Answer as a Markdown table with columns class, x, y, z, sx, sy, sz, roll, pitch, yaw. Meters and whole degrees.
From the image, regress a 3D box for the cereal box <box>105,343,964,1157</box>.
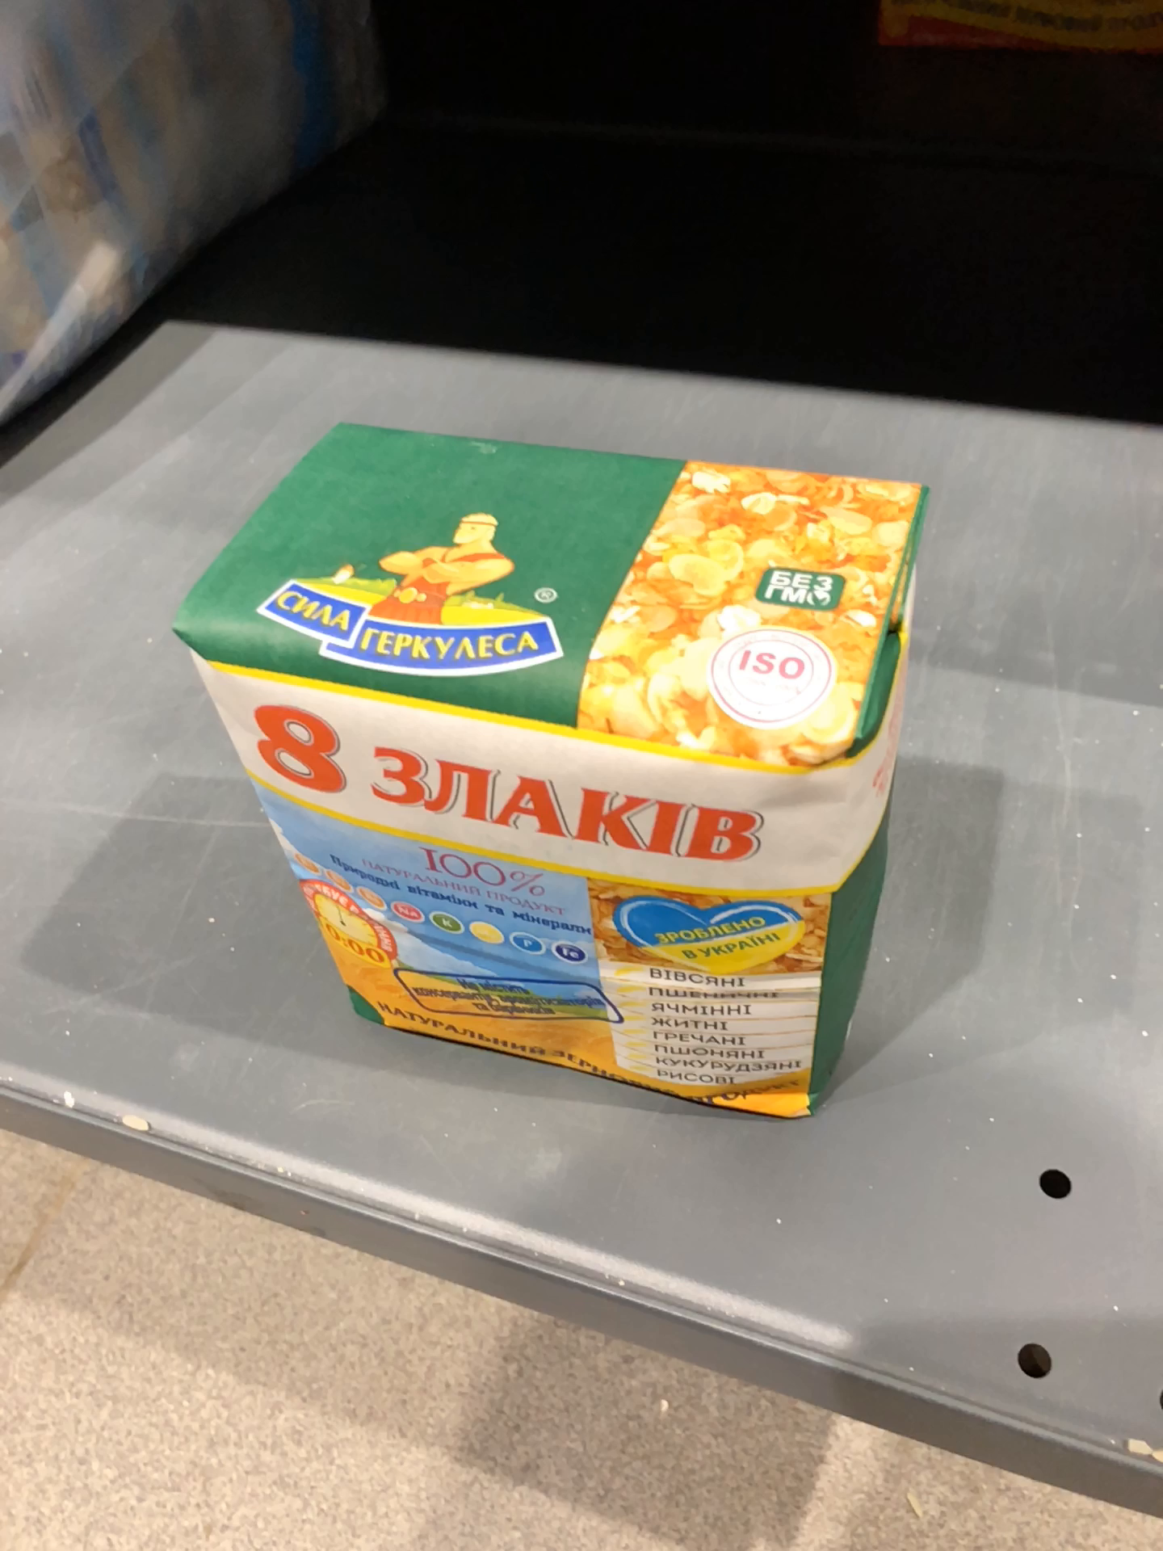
| class | x | y | z | sx | sy | sz | roll | pitch | yaw |
| --- | --- | --- | --- | --- | --- | --- | --- | --- | --- |
| cereal box | 0.000 | -0.002 | 0.253 | 0.120 | 0.129 | 0.070 | 11 | 51 | 16 |
